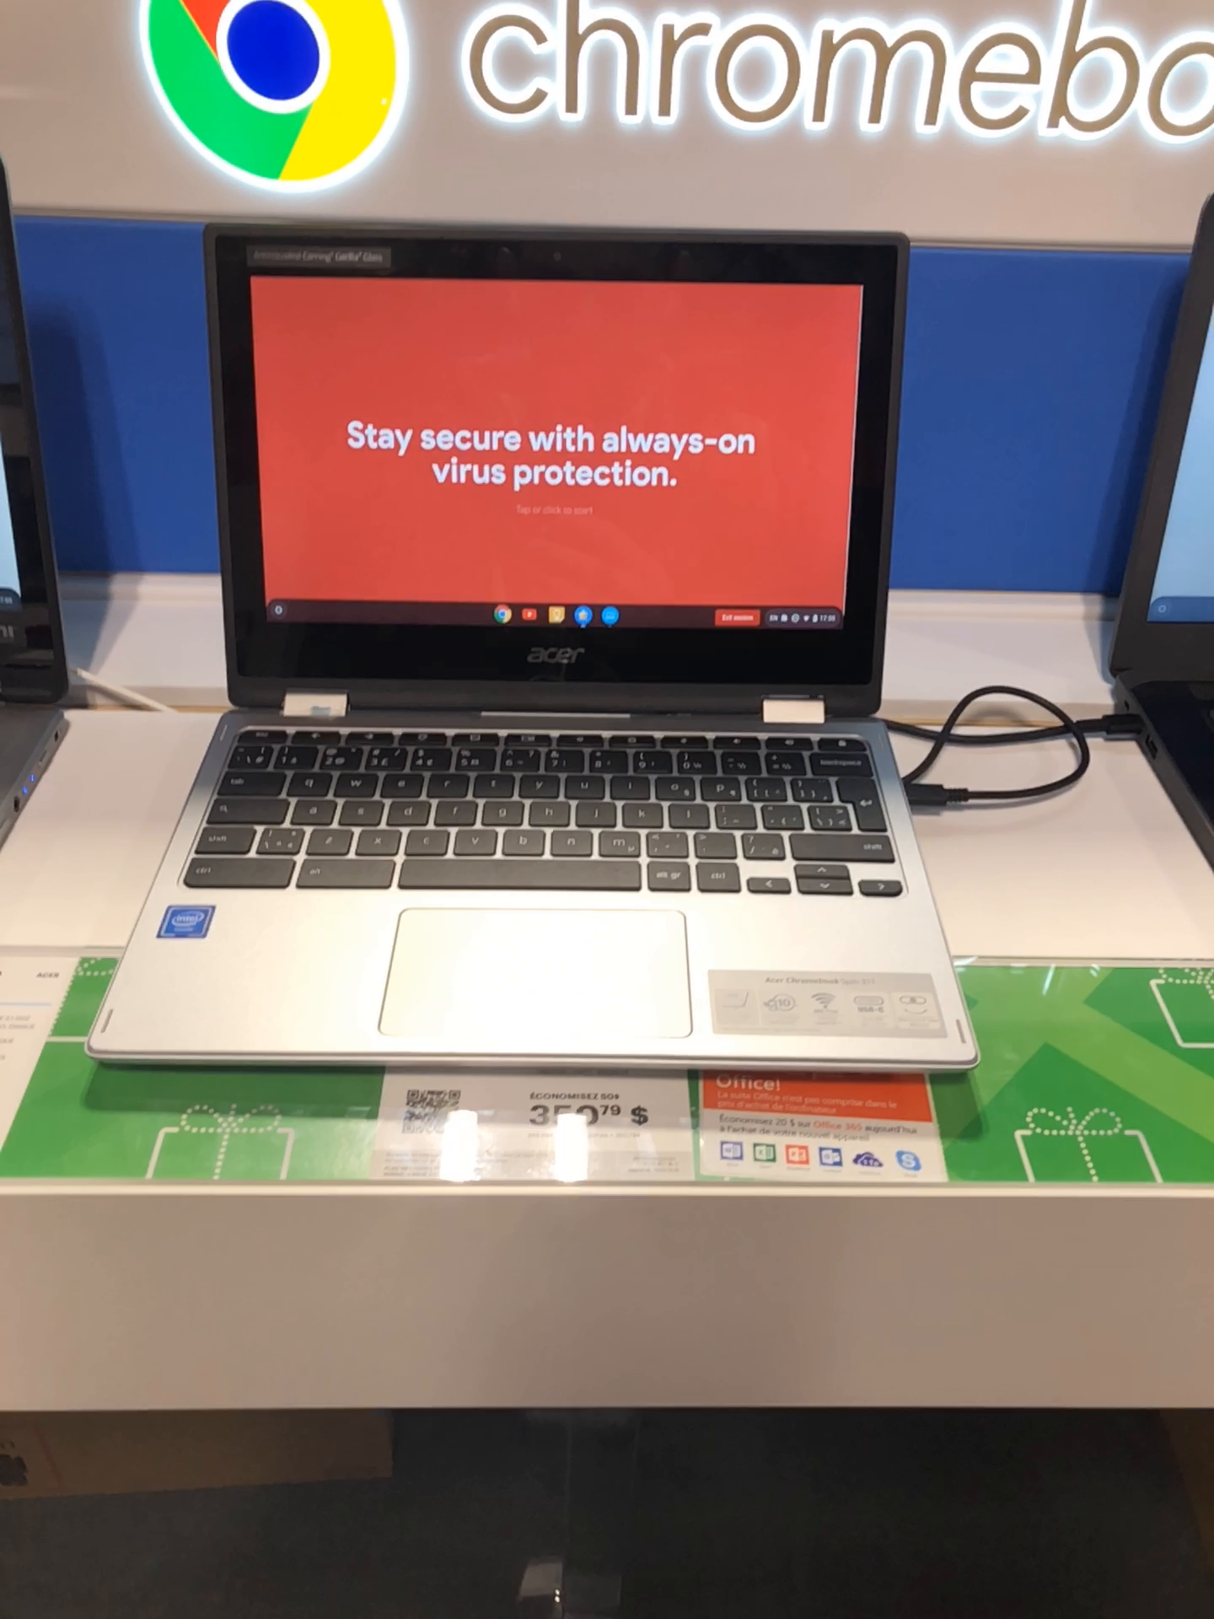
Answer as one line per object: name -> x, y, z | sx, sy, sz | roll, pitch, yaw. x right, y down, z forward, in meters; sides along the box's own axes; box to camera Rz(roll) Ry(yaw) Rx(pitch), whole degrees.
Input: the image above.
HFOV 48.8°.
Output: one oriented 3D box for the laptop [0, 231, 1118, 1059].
laptop -> -0.021, -0.075, 0.489 | 0.284, 0.181, 0.274 | 1, 38, -2
